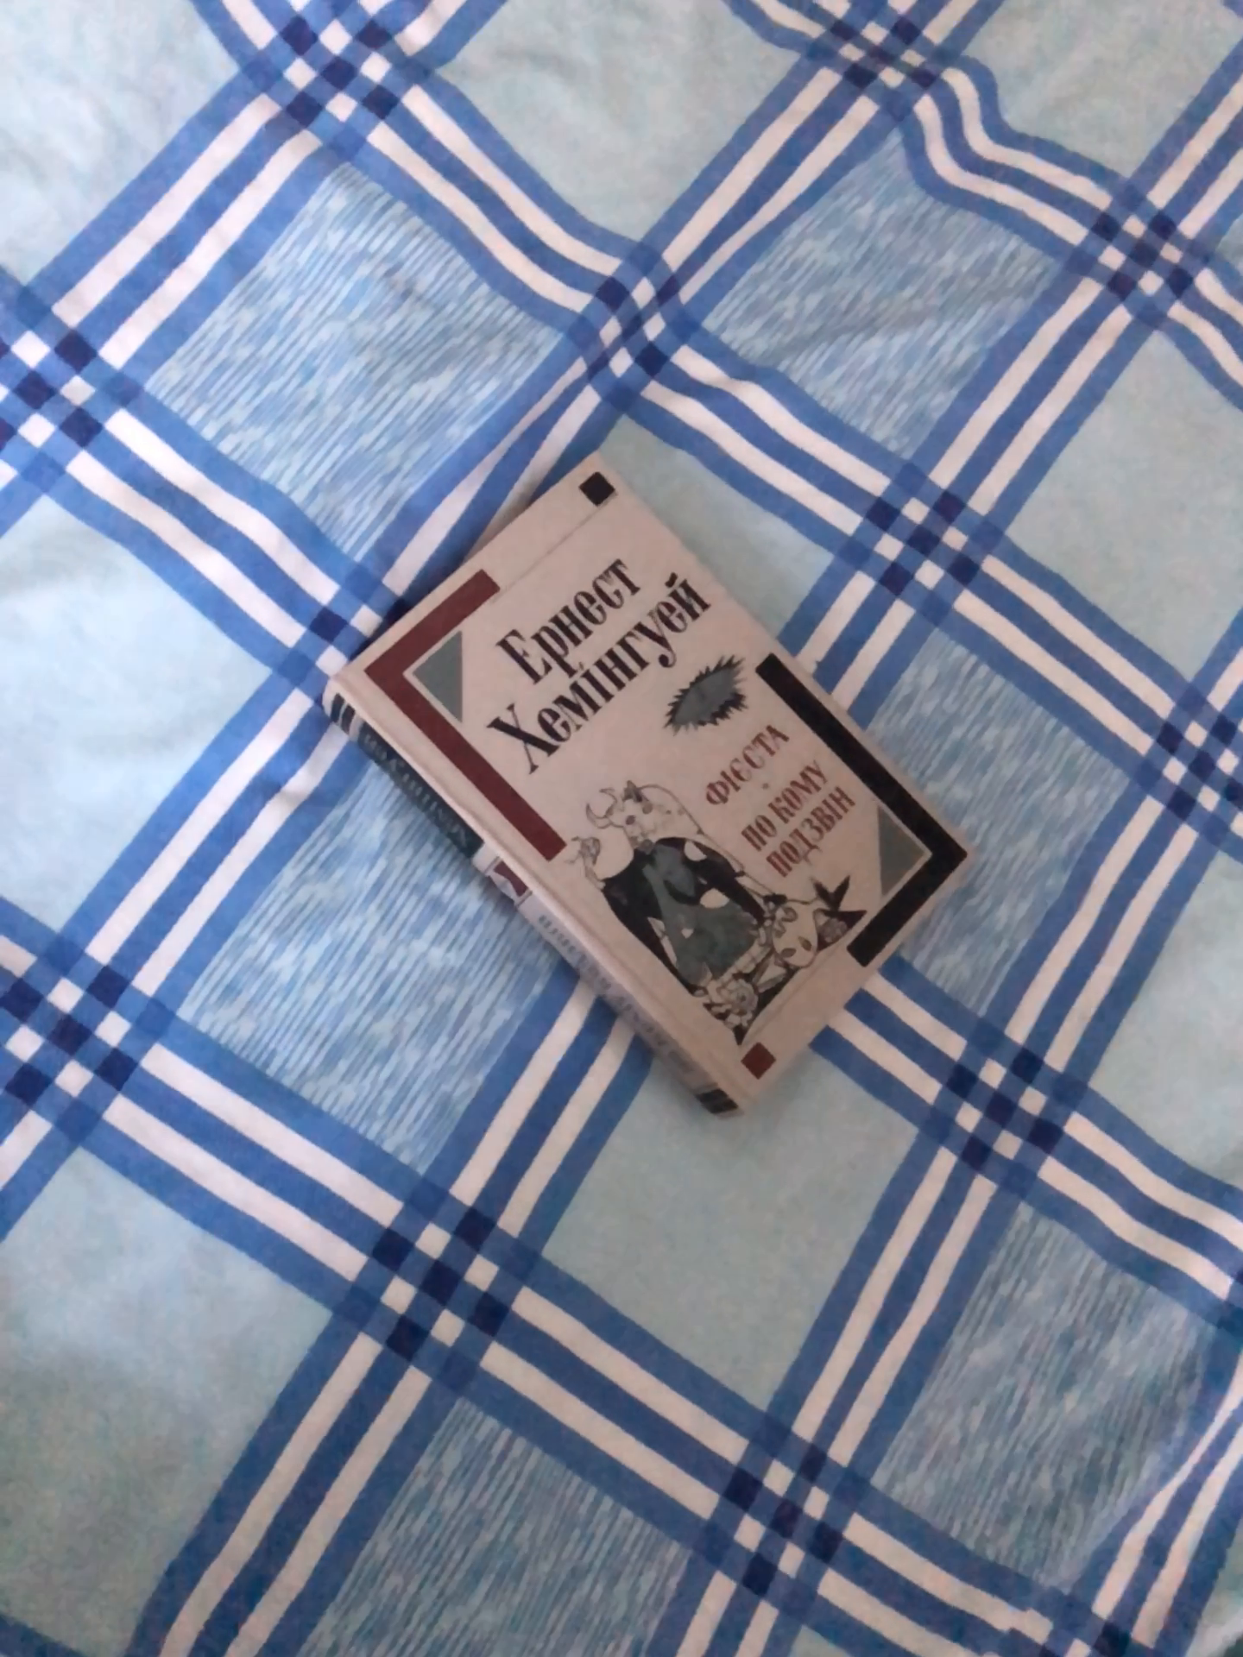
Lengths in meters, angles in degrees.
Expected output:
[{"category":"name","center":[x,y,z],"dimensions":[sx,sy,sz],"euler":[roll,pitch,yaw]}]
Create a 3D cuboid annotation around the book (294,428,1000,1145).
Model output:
[{"category":"book","center":[0.010,-0.016,0.504],"dimensions":[0.142,0.040,0.220],"euler":[-44,91,-15]}]
